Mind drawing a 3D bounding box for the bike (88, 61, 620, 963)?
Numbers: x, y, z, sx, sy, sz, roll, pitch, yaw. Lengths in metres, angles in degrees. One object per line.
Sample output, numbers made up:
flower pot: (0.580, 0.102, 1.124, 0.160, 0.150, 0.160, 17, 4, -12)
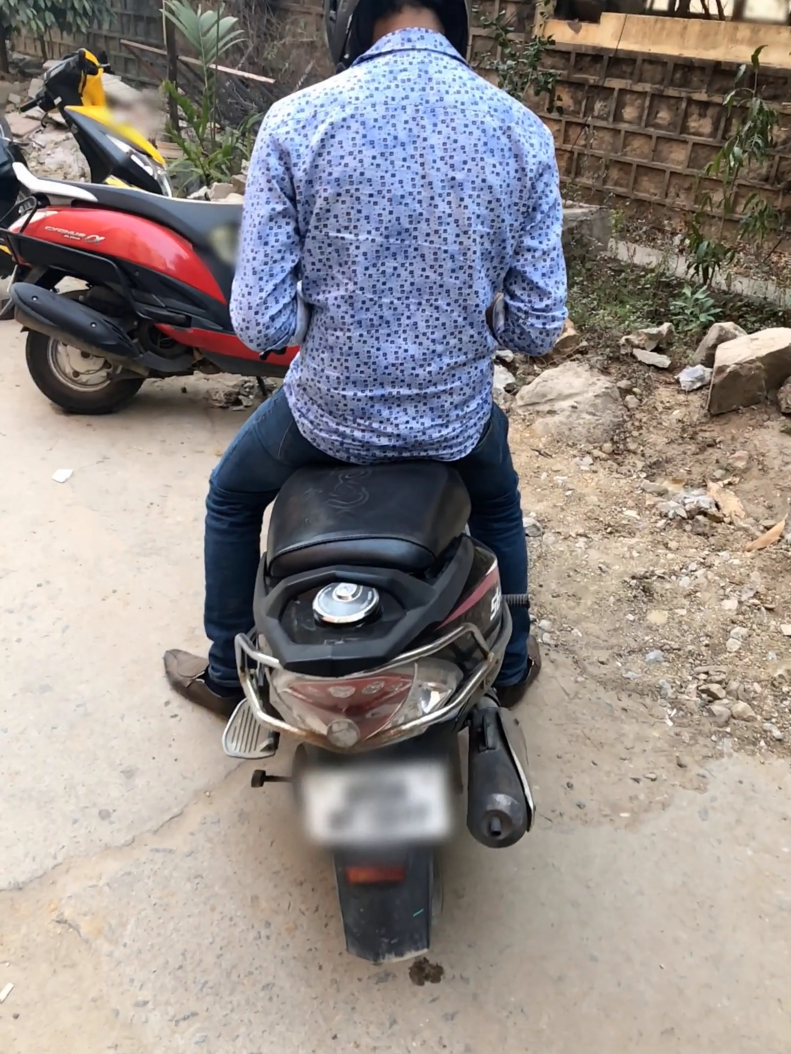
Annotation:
bike: (-0.160, -0.191, 1.756, 0.559, 1.054, 1.483, 1, 34, -8)
